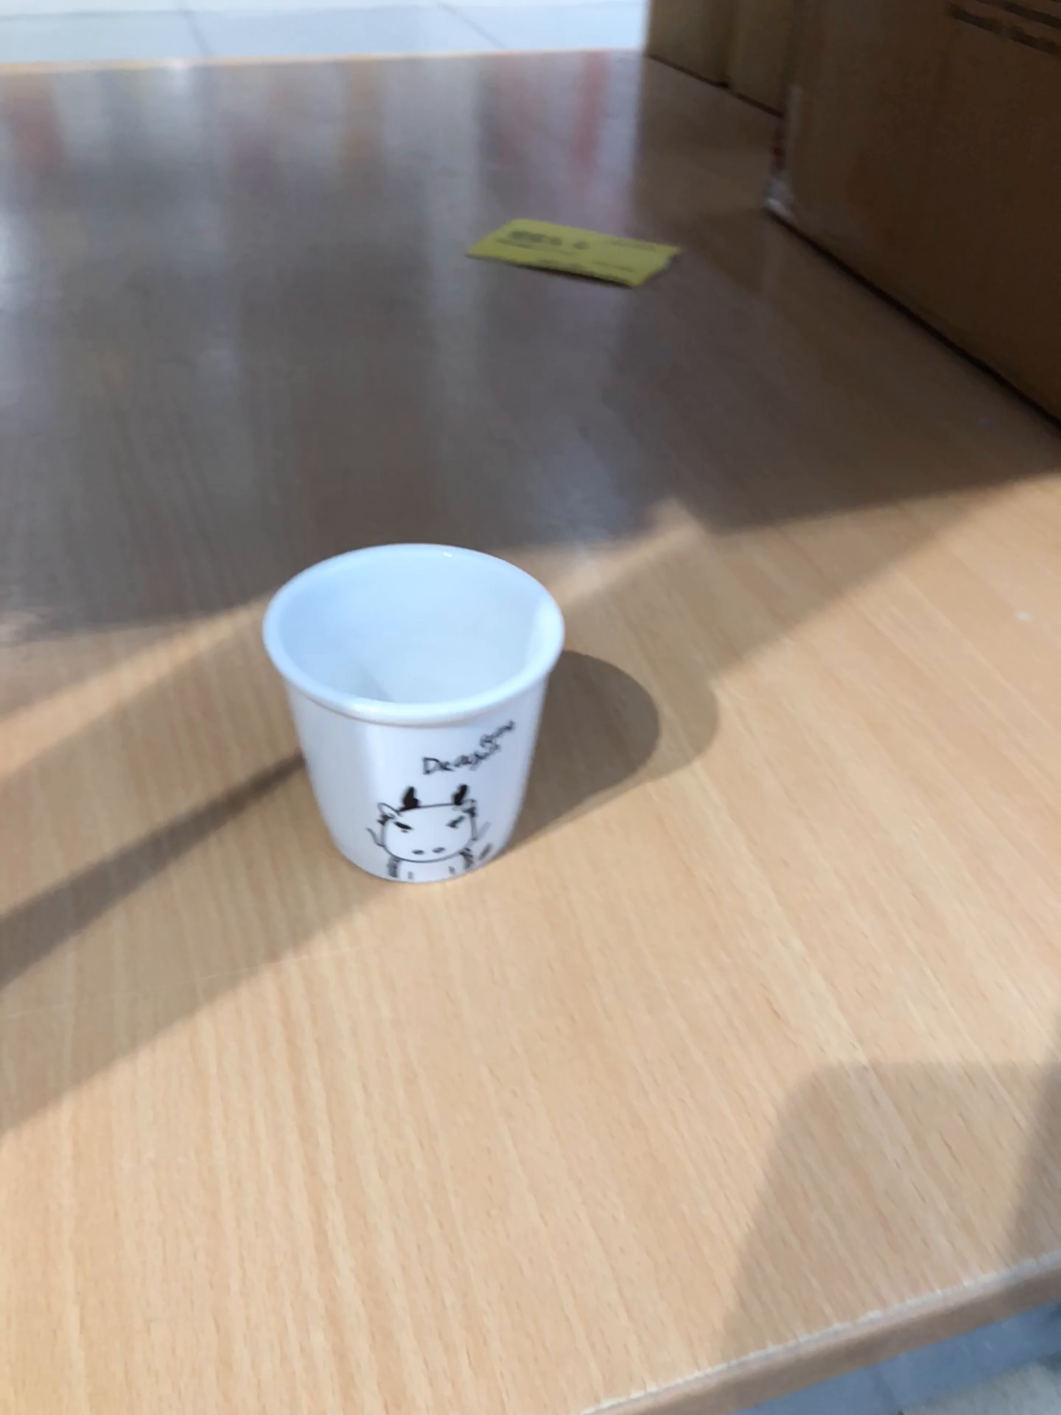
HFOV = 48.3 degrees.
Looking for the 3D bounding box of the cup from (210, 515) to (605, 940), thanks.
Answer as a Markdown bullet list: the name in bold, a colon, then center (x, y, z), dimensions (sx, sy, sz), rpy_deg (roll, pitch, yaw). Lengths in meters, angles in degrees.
- **cup**: center (-0.034, 0.001, 0.300), dimensions (0.080, 0.060, 0.080), rpy_deg (2, 38, -1)
